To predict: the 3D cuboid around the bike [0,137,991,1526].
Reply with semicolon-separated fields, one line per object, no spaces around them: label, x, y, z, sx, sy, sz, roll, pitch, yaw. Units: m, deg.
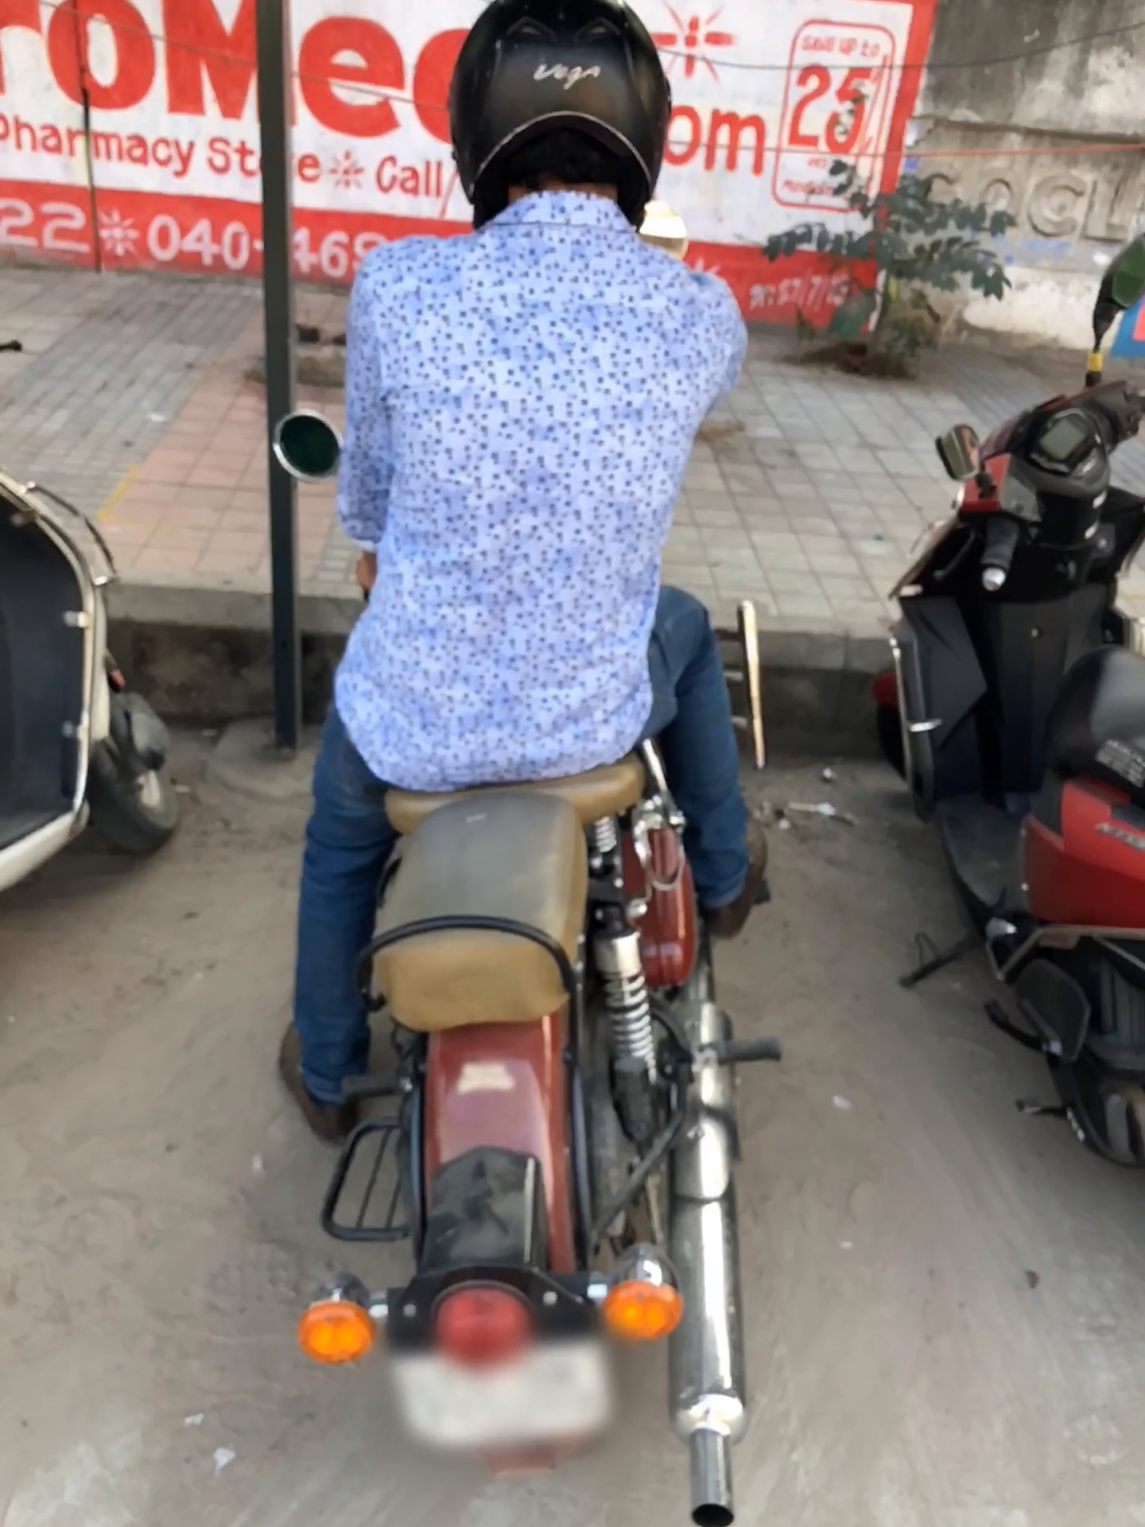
bike;-0.139;0.009;1.864;0.792;1.256;1.558;4;35;-3
